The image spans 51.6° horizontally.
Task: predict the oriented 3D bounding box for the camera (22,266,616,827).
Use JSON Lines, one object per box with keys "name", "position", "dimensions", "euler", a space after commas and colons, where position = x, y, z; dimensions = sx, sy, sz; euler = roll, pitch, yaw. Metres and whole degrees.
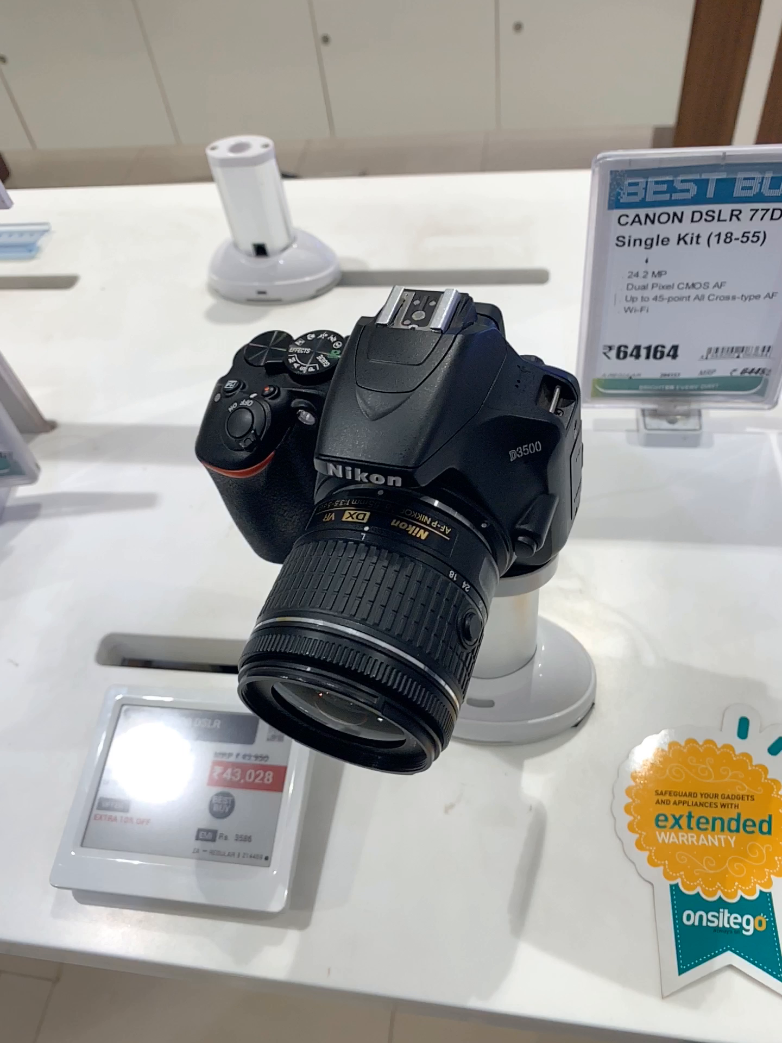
{"name": "camera", "position": [-0.007, 0.003, 0.223], "dimensions": [0.110, 0.090, 0.103], "euler": [11, 54, 16]}
